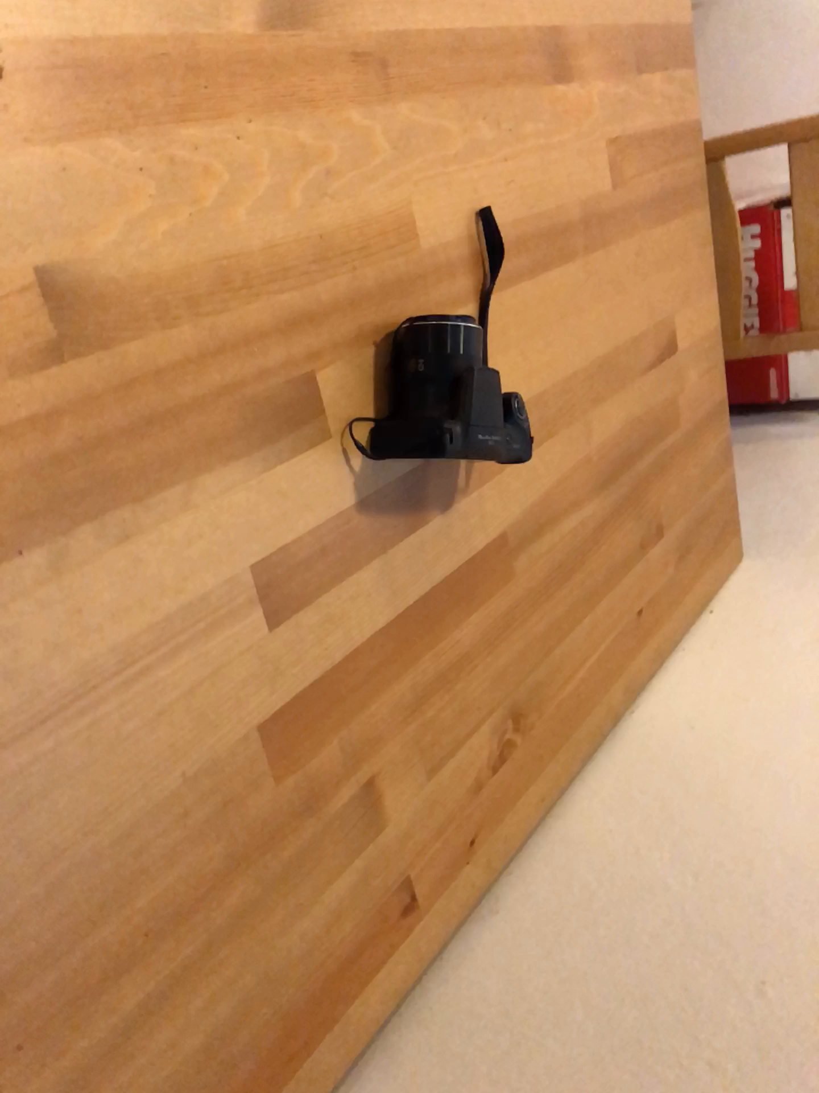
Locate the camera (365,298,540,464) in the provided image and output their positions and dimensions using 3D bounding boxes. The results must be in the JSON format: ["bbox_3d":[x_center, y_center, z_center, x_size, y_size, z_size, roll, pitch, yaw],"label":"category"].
[{"bbox_3d":[0.031,-0.103,0.596,0.110,0.062,0.096,-7,98,-51],"label":"camera"}]
